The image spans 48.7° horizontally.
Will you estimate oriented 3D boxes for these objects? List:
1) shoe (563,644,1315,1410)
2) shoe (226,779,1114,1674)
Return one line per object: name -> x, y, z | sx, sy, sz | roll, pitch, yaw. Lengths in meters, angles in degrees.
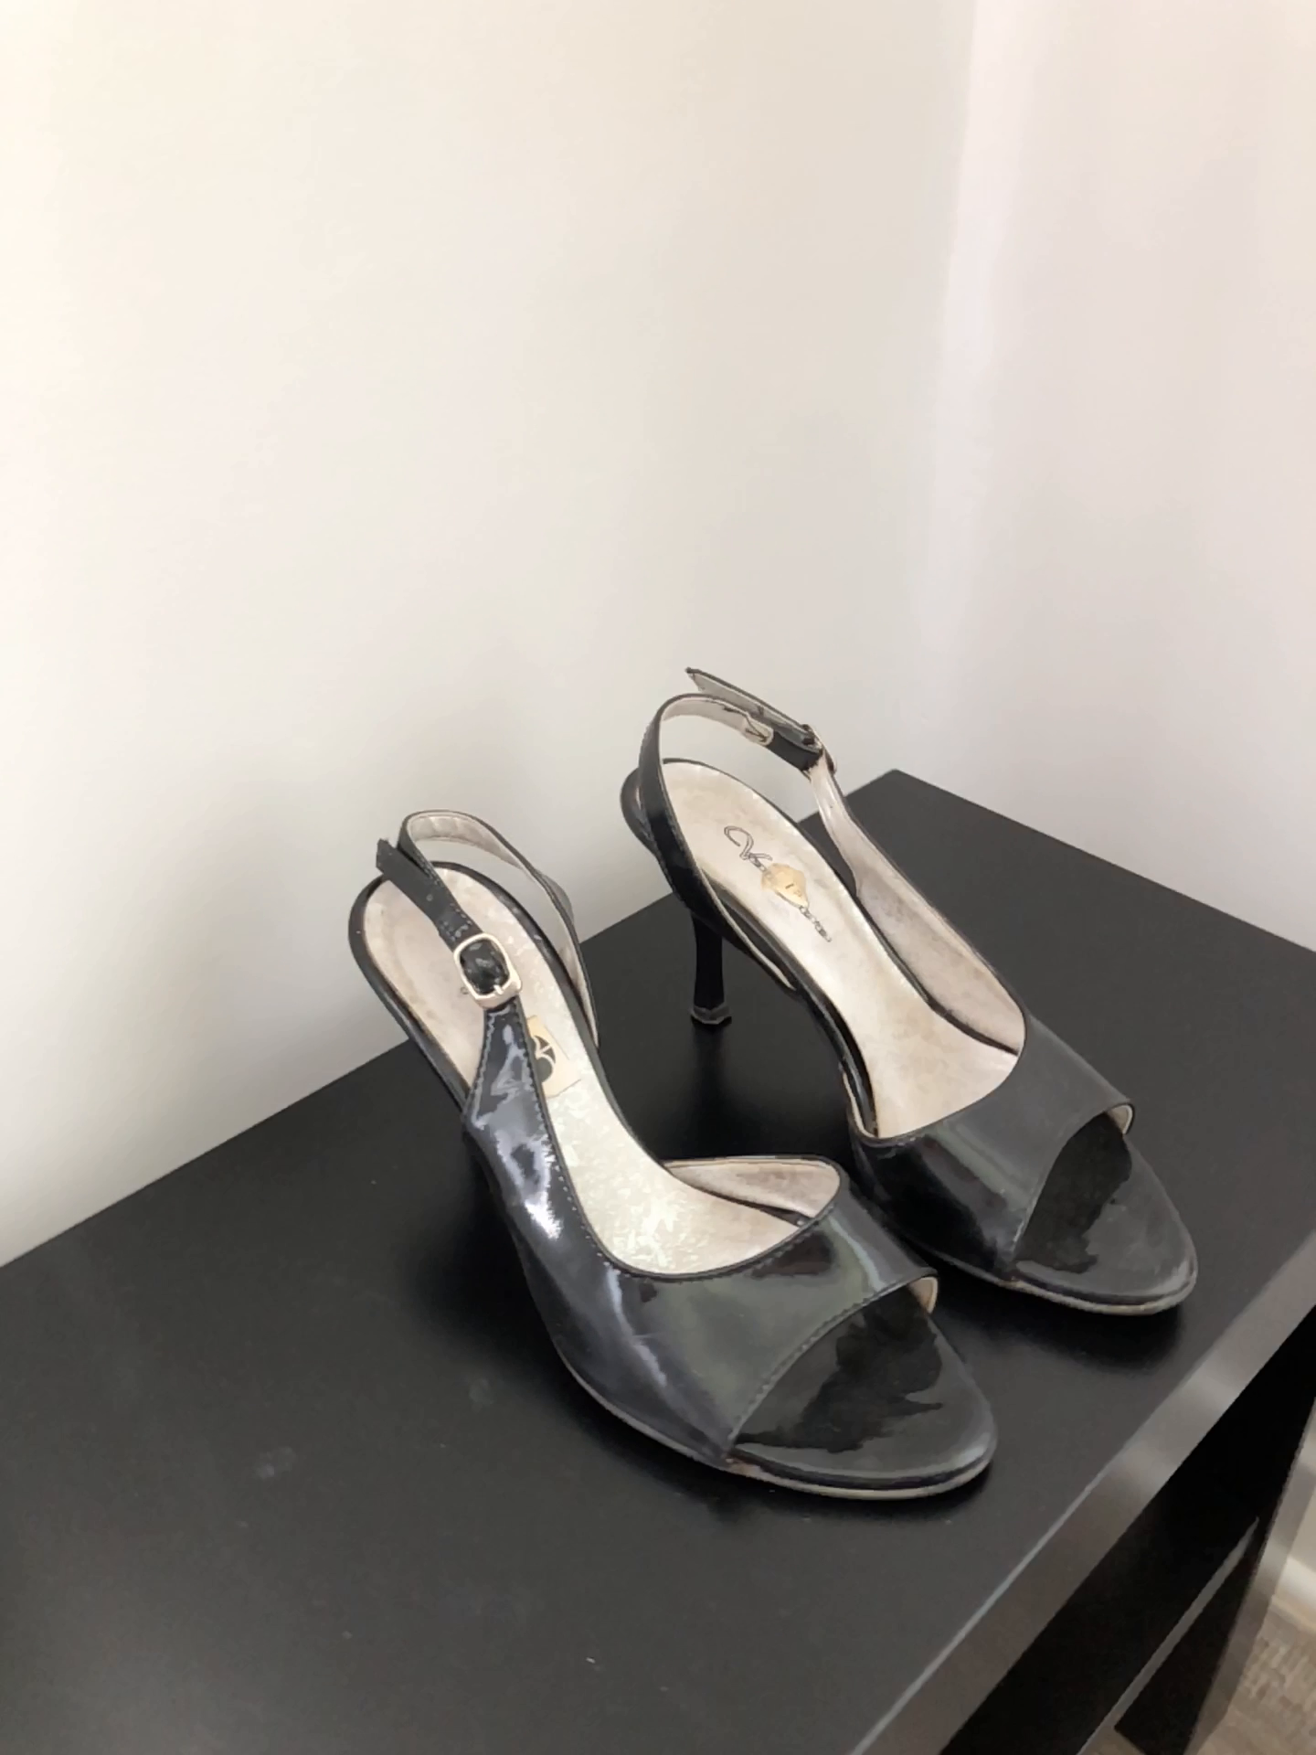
shoe -> 0.072, 0.027, 0.419 | 0.083, 0.110, 0.211 | -26, 40, -32
shoe -> -0.007, 0.073, 0.375 | 0.211, 0.110, 0.083 | 27, 42, 35
